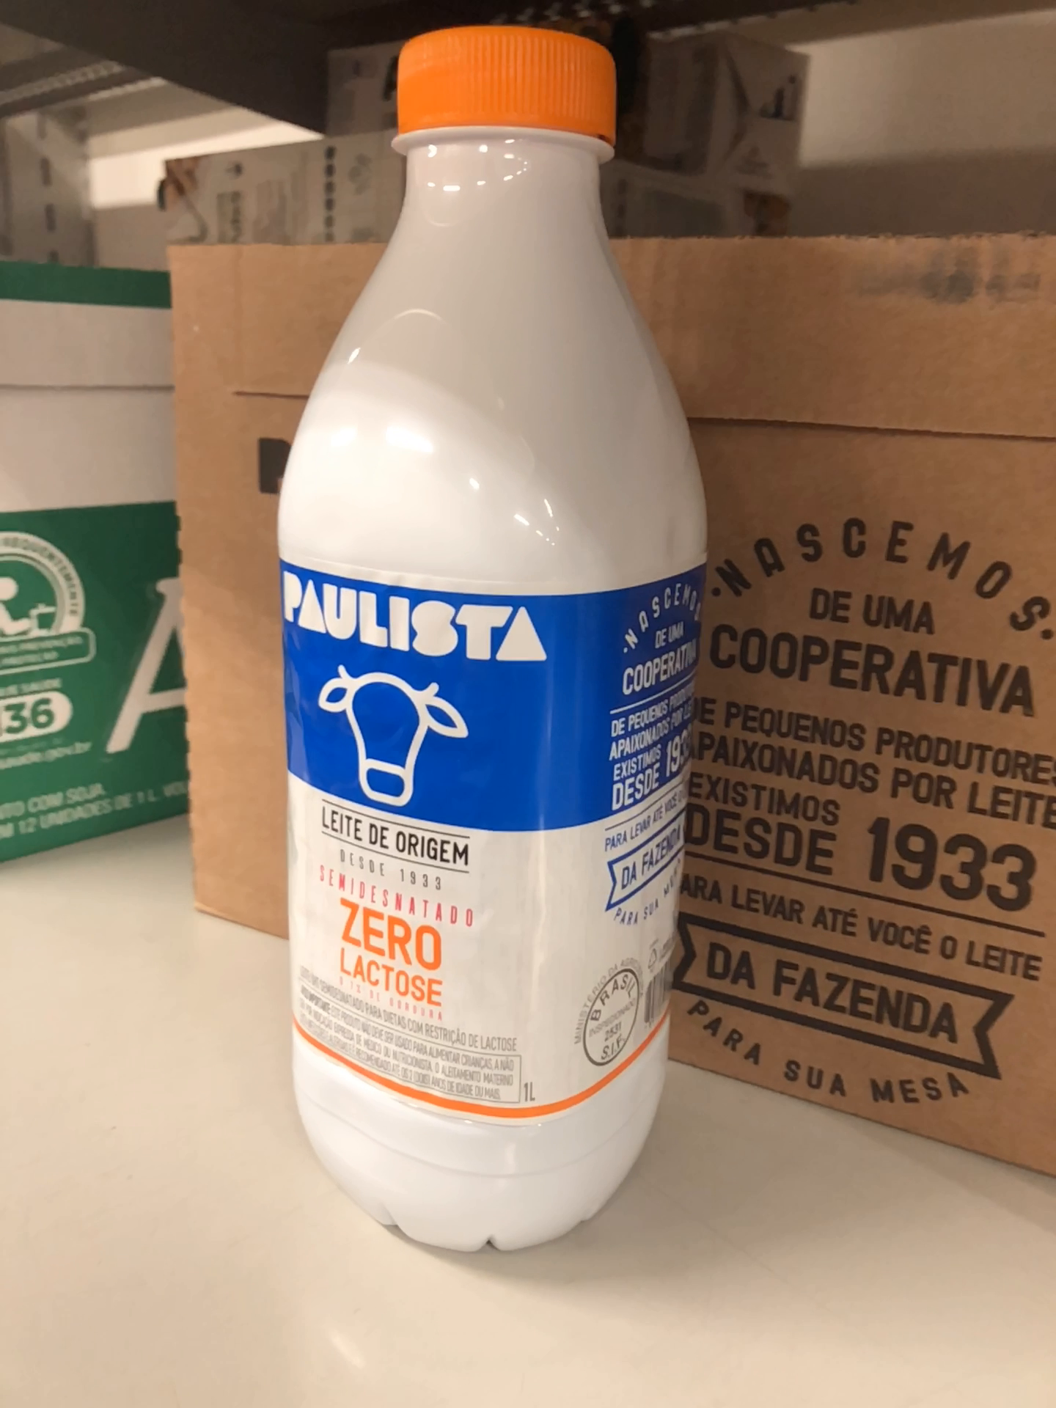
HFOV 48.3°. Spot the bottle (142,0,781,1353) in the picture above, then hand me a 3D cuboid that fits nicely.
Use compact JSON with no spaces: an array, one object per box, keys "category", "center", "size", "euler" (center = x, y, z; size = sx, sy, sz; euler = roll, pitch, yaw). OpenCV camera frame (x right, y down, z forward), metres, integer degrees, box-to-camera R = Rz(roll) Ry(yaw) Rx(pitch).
[{"category":"bottle","center":[-0.011,-0.008,0.236],"size":[0.080,0.229,0.080],"euler":[1,15,0]}]
